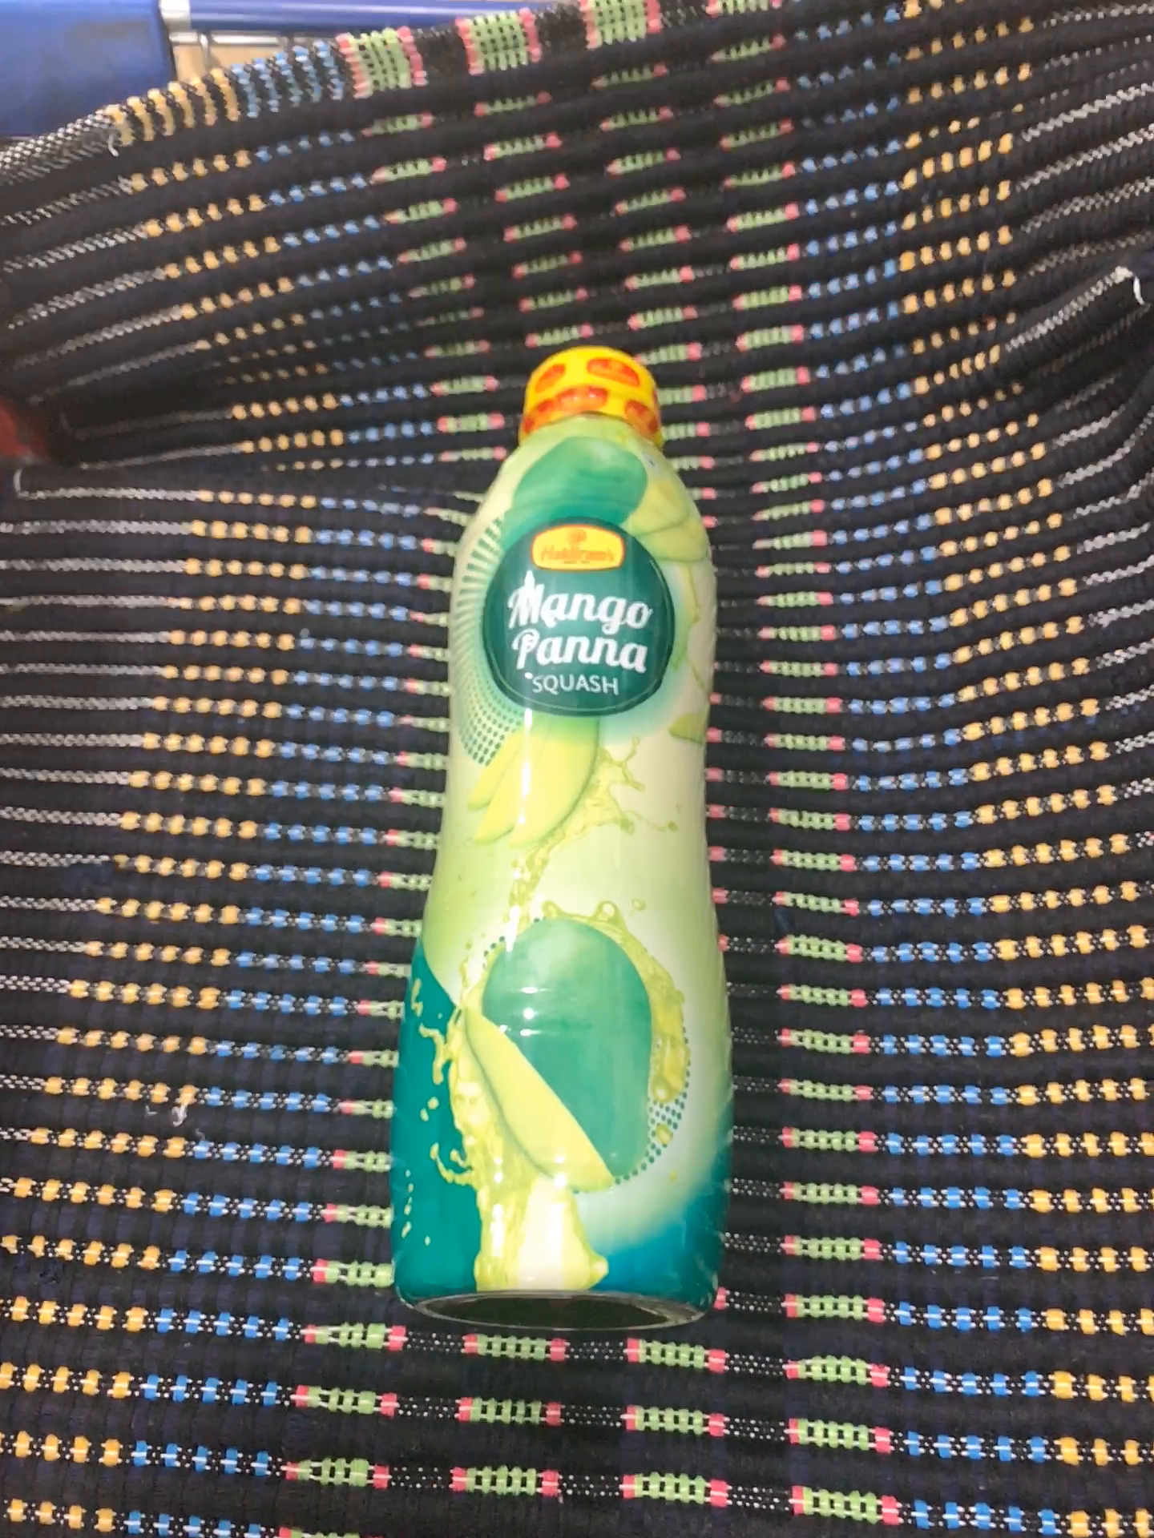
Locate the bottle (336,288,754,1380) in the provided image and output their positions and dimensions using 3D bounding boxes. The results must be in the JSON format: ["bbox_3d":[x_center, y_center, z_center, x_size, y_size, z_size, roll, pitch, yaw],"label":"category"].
[{"bbox_3d":[0.000,-0.006,0.293,0.070,0.050,0.271,3,59,0],"label":"bottle"}]
